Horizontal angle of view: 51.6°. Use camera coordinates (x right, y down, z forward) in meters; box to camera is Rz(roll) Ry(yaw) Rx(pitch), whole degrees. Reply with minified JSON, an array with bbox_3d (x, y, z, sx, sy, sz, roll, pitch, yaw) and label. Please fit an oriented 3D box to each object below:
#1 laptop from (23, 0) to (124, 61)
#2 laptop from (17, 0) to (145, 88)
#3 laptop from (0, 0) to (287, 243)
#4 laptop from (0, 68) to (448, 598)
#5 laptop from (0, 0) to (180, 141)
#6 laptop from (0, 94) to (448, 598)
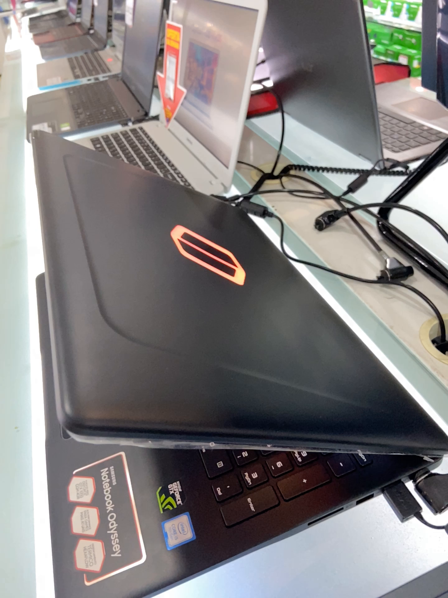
[{"bbox_3d":[-0.643,-1.188,1.964,0.319,0.205,0.338,-17,41,-9],"label":"laptop"},{"bbox_3d":[-0.480,-0.879,1.543,0.337,0.180,0.332,-18,41,-11],"label":"laptop"},{"bbox_3d":[-0.159,-0.332,0.734,0.345,0.223,0.433,-19,38,-11],"label":"laptop"},{"bbox_3d":[0.136,0.189,0.023,0.307,0.234,0.414,-19,40,-12],"label":"laptop"},{"bbox_3d":[-0.332,-0.585,1.088,0.341,0.227,0.338,-19,42,-12],"label":"laptop"},{"bbox_3d":[-0.045,-0.019,0.374,0.258,0.152,0.369,-18,39,-11],"label":"laptop"}]
